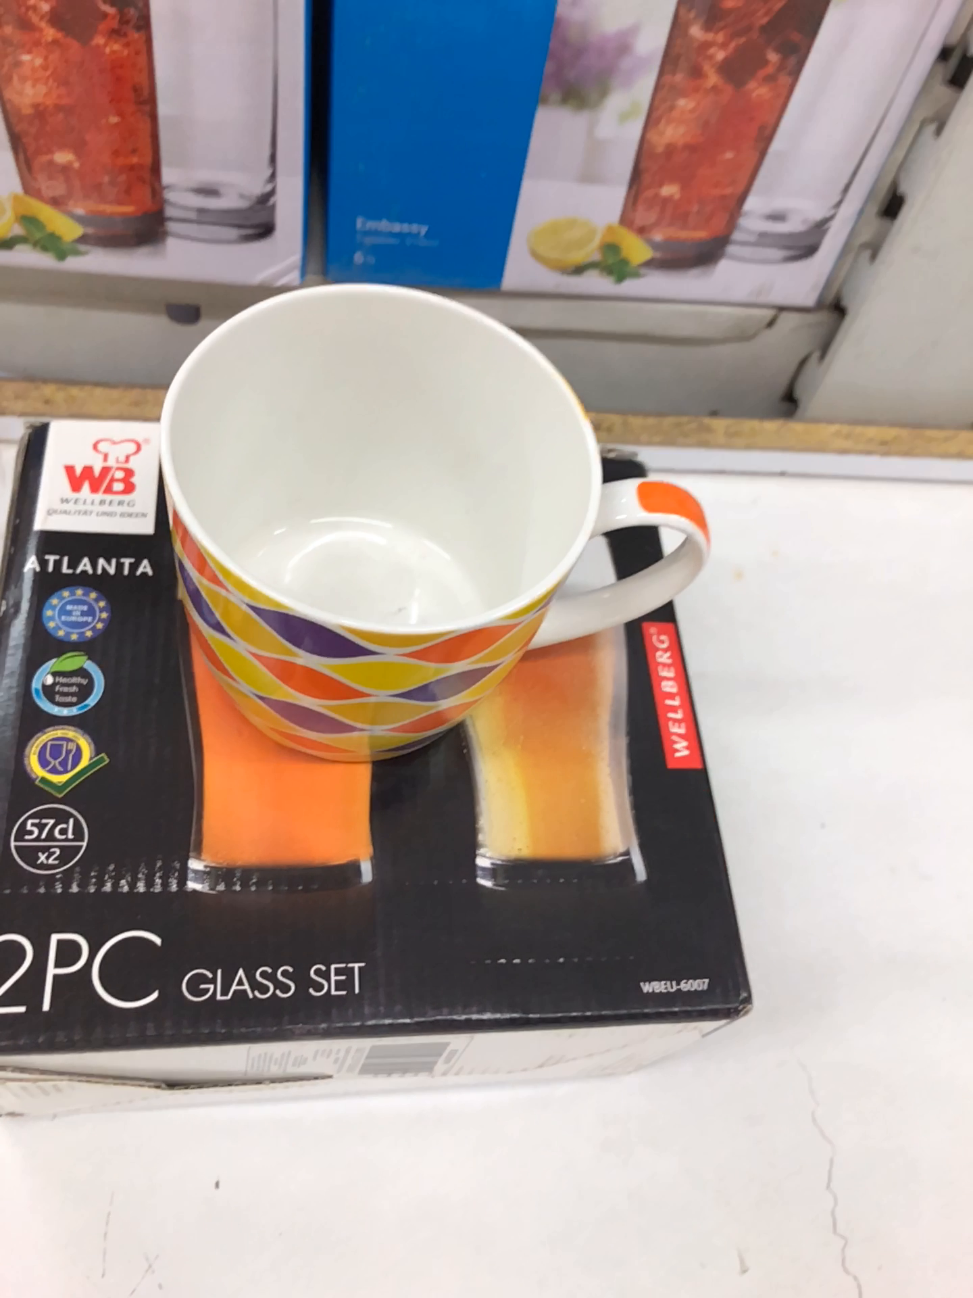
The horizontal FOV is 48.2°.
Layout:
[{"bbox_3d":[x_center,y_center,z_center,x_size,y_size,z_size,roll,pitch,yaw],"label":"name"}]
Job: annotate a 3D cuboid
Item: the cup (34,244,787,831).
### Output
[{"bbox_3d":[-0.021,-0.022,0.248,0.130,0.090,0.090,-2,58,-11],"label":"cup"}]
